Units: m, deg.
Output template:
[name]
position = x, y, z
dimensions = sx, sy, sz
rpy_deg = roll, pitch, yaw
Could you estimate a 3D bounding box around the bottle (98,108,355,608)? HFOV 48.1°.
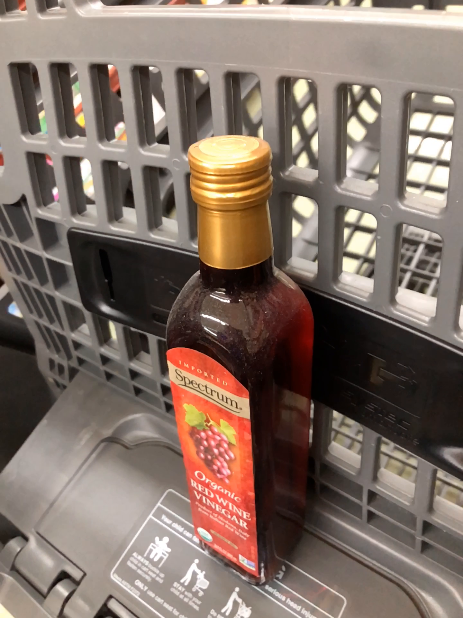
[bottle]
position = 0.009, 0.045, 0.276
dimensions = 0.070, 0.270, 0.070
rpy_deg = -3, 36, 3
